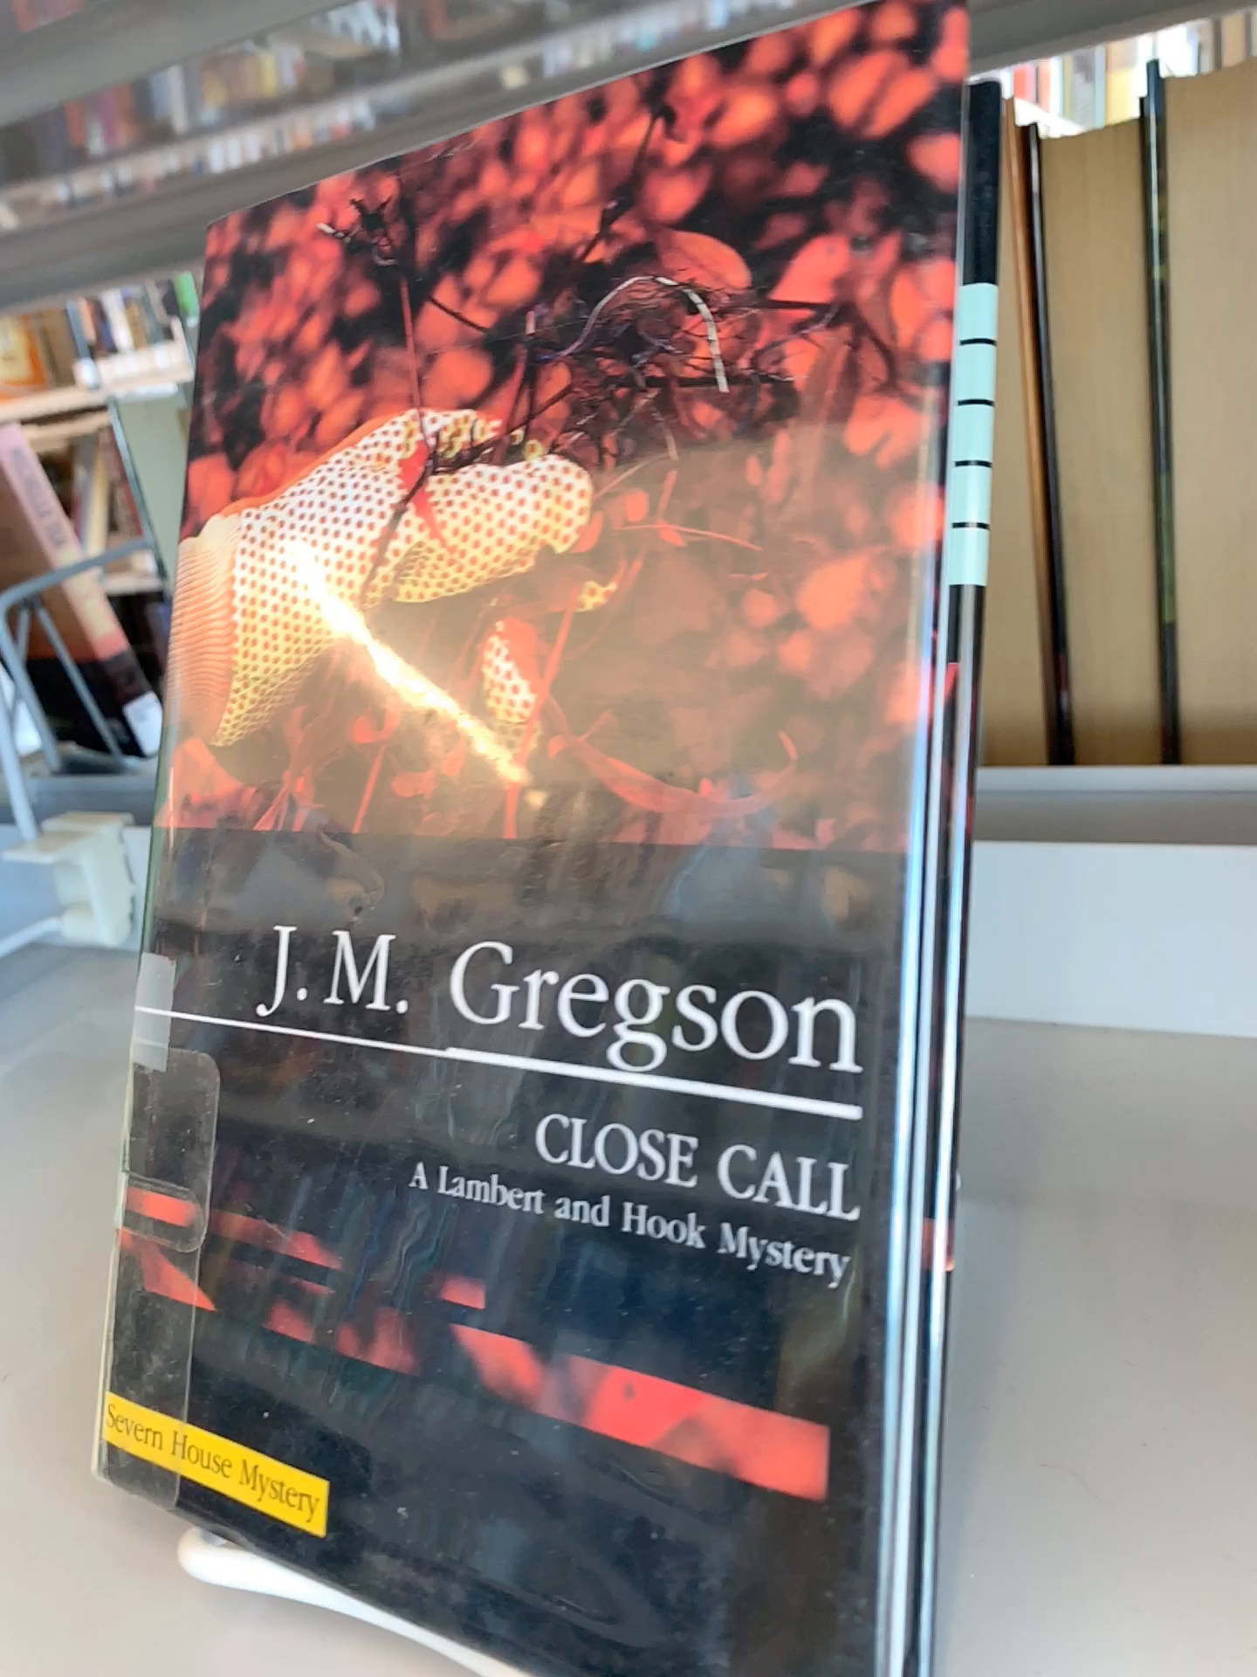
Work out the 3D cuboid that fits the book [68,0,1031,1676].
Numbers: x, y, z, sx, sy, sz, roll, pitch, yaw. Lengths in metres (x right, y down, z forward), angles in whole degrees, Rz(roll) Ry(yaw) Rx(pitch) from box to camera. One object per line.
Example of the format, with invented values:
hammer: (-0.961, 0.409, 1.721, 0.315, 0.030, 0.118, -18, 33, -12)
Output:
book: (-0.019, 0.001, 0.195, 0.140, 0.208, 0.030, 2, -3, 32)
